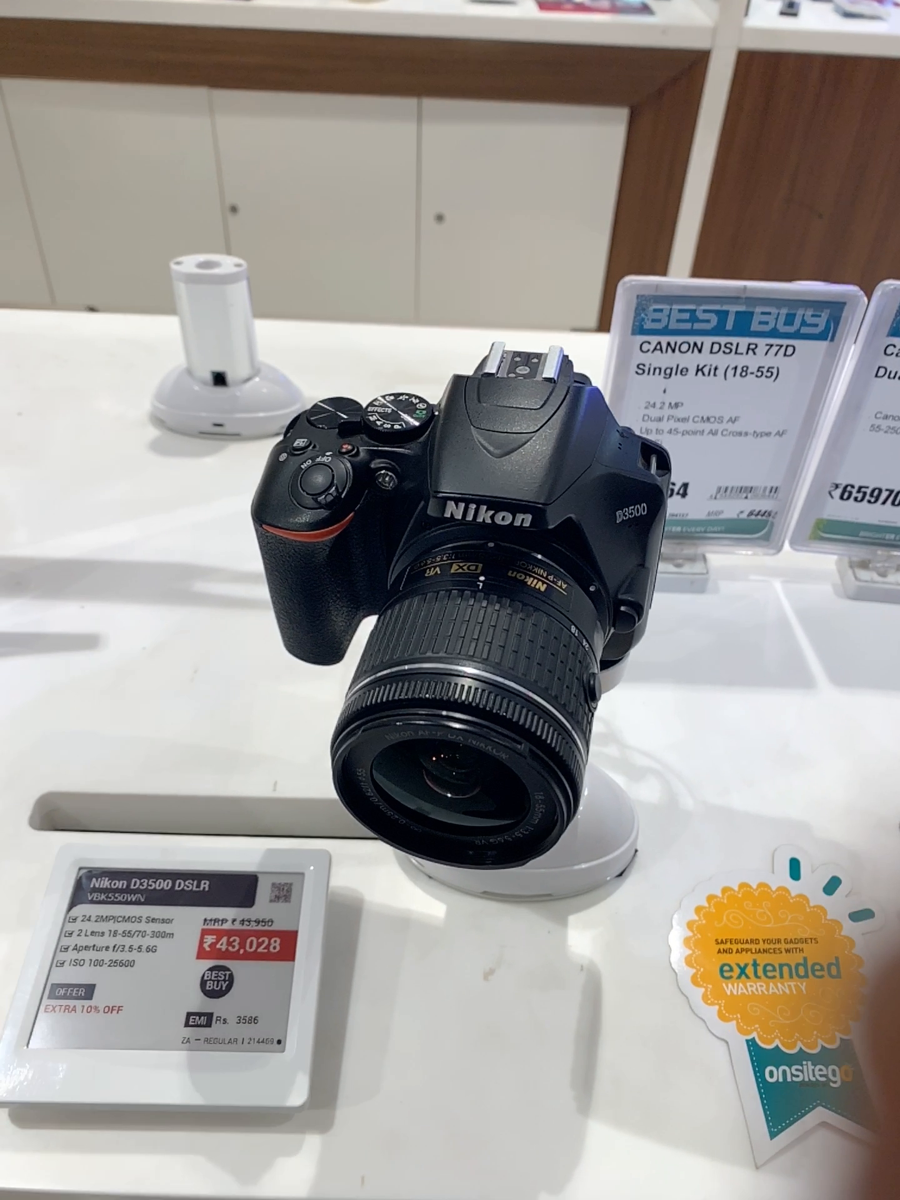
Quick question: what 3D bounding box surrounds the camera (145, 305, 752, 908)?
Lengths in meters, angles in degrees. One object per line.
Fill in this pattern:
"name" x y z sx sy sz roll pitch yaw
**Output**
"camera" 0.006 -0.003 0.233 0.110 0.090 0.103 9 42 7
